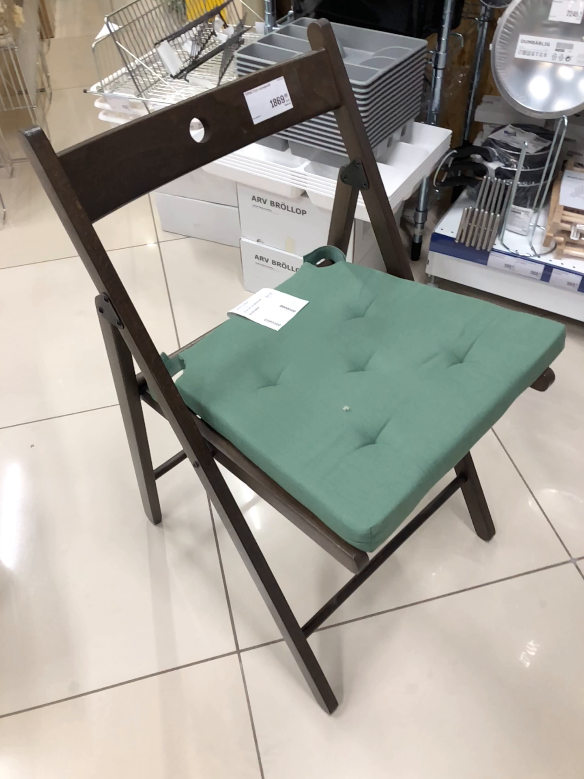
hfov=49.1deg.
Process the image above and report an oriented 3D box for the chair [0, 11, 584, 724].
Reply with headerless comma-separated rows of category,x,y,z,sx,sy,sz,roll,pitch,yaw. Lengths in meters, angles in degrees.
chair,0.031,-0.016,0.849,0.442,0.685,0.481,-36,55,-28
